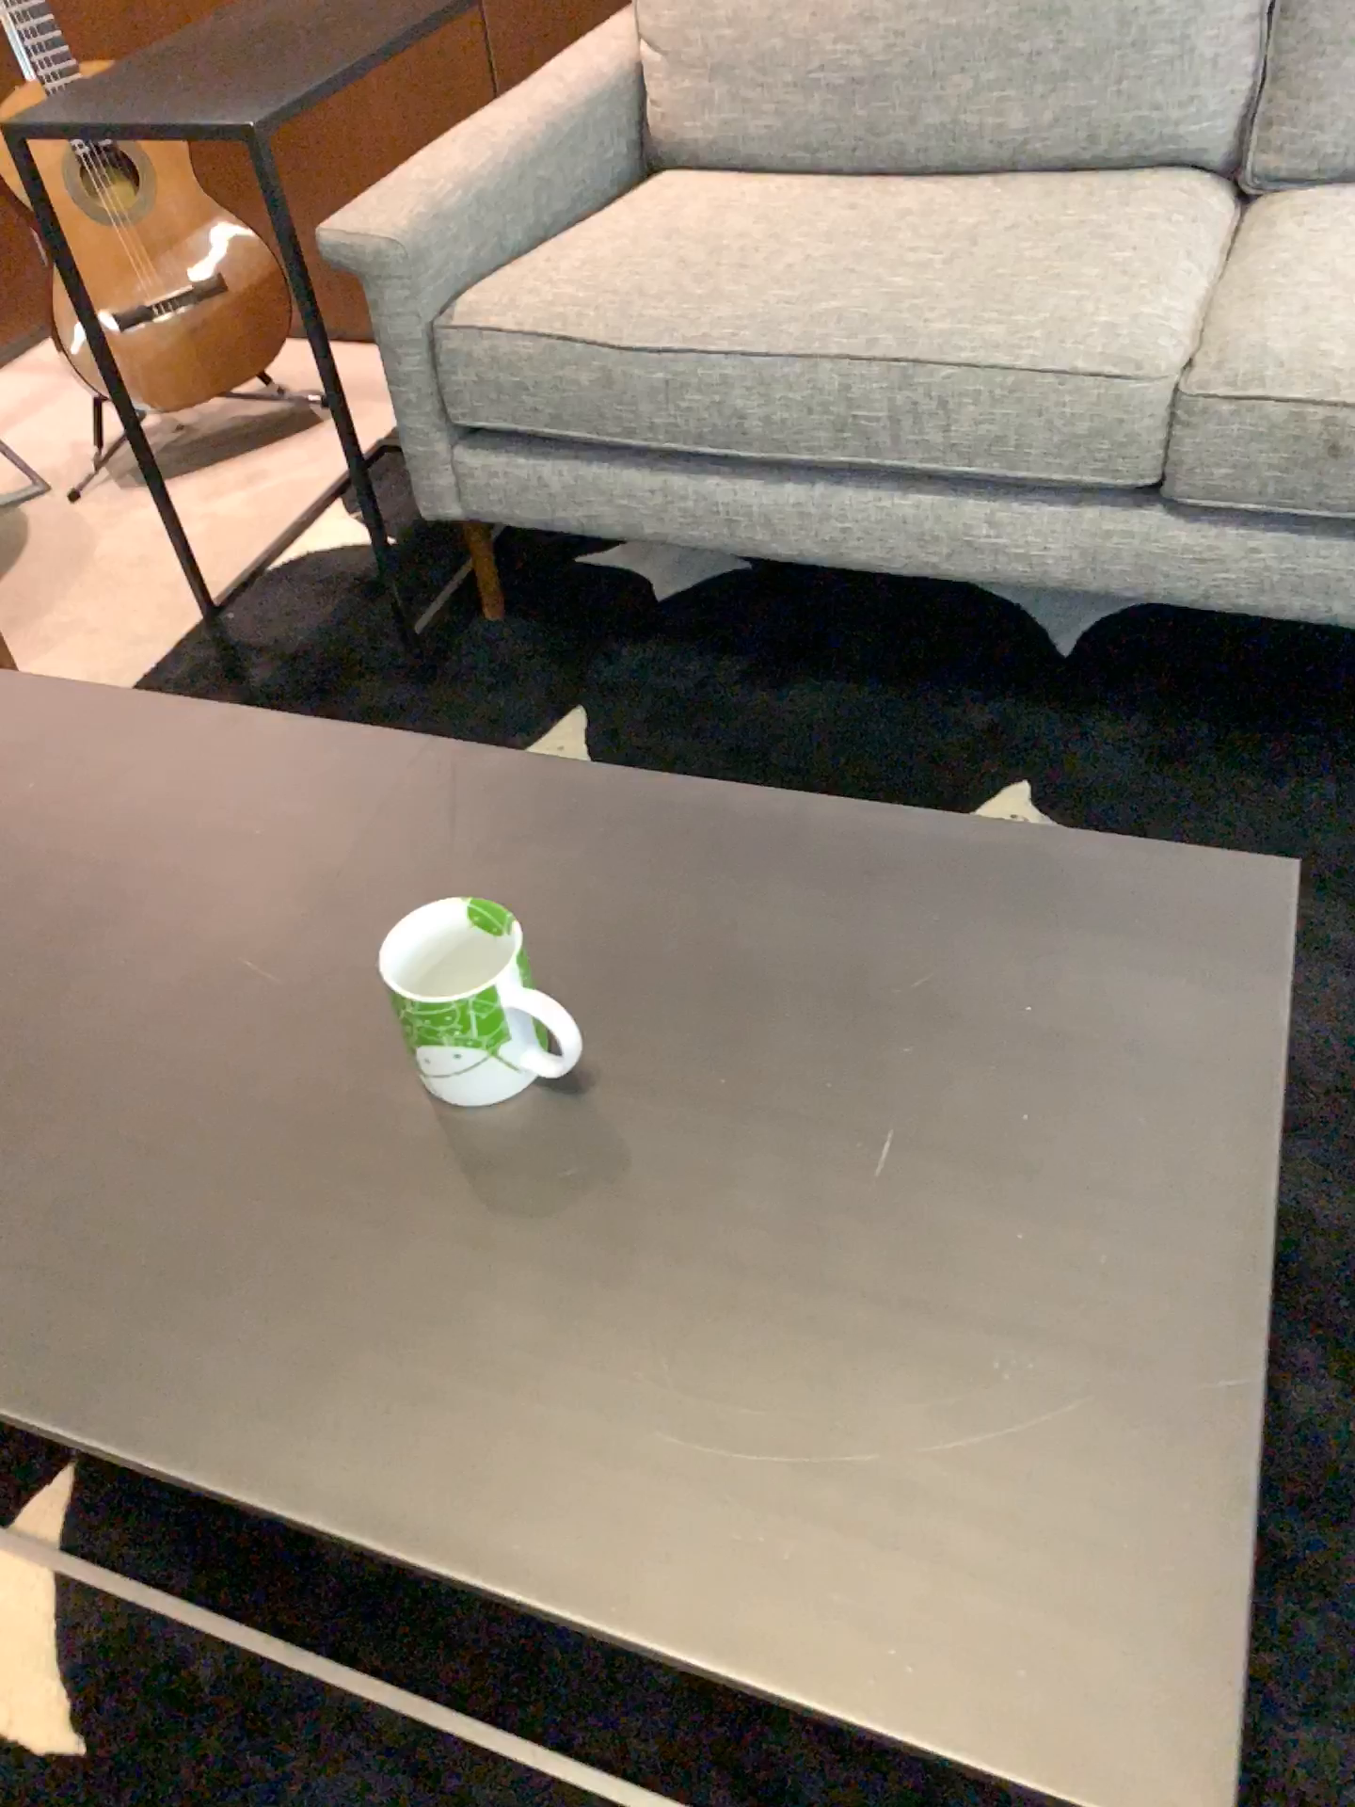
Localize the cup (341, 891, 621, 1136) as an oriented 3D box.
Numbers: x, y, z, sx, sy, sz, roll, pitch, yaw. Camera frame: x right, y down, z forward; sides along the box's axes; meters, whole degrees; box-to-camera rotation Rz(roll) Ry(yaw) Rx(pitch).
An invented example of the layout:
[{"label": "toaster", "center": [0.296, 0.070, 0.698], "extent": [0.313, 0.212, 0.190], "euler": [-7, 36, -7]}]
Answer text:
[{"label": "cup", "center": [-0.107, 0.061, 0.785], "extent": [0.120, 0.090, 0.090], "euler": [5, 46, 14]}]
